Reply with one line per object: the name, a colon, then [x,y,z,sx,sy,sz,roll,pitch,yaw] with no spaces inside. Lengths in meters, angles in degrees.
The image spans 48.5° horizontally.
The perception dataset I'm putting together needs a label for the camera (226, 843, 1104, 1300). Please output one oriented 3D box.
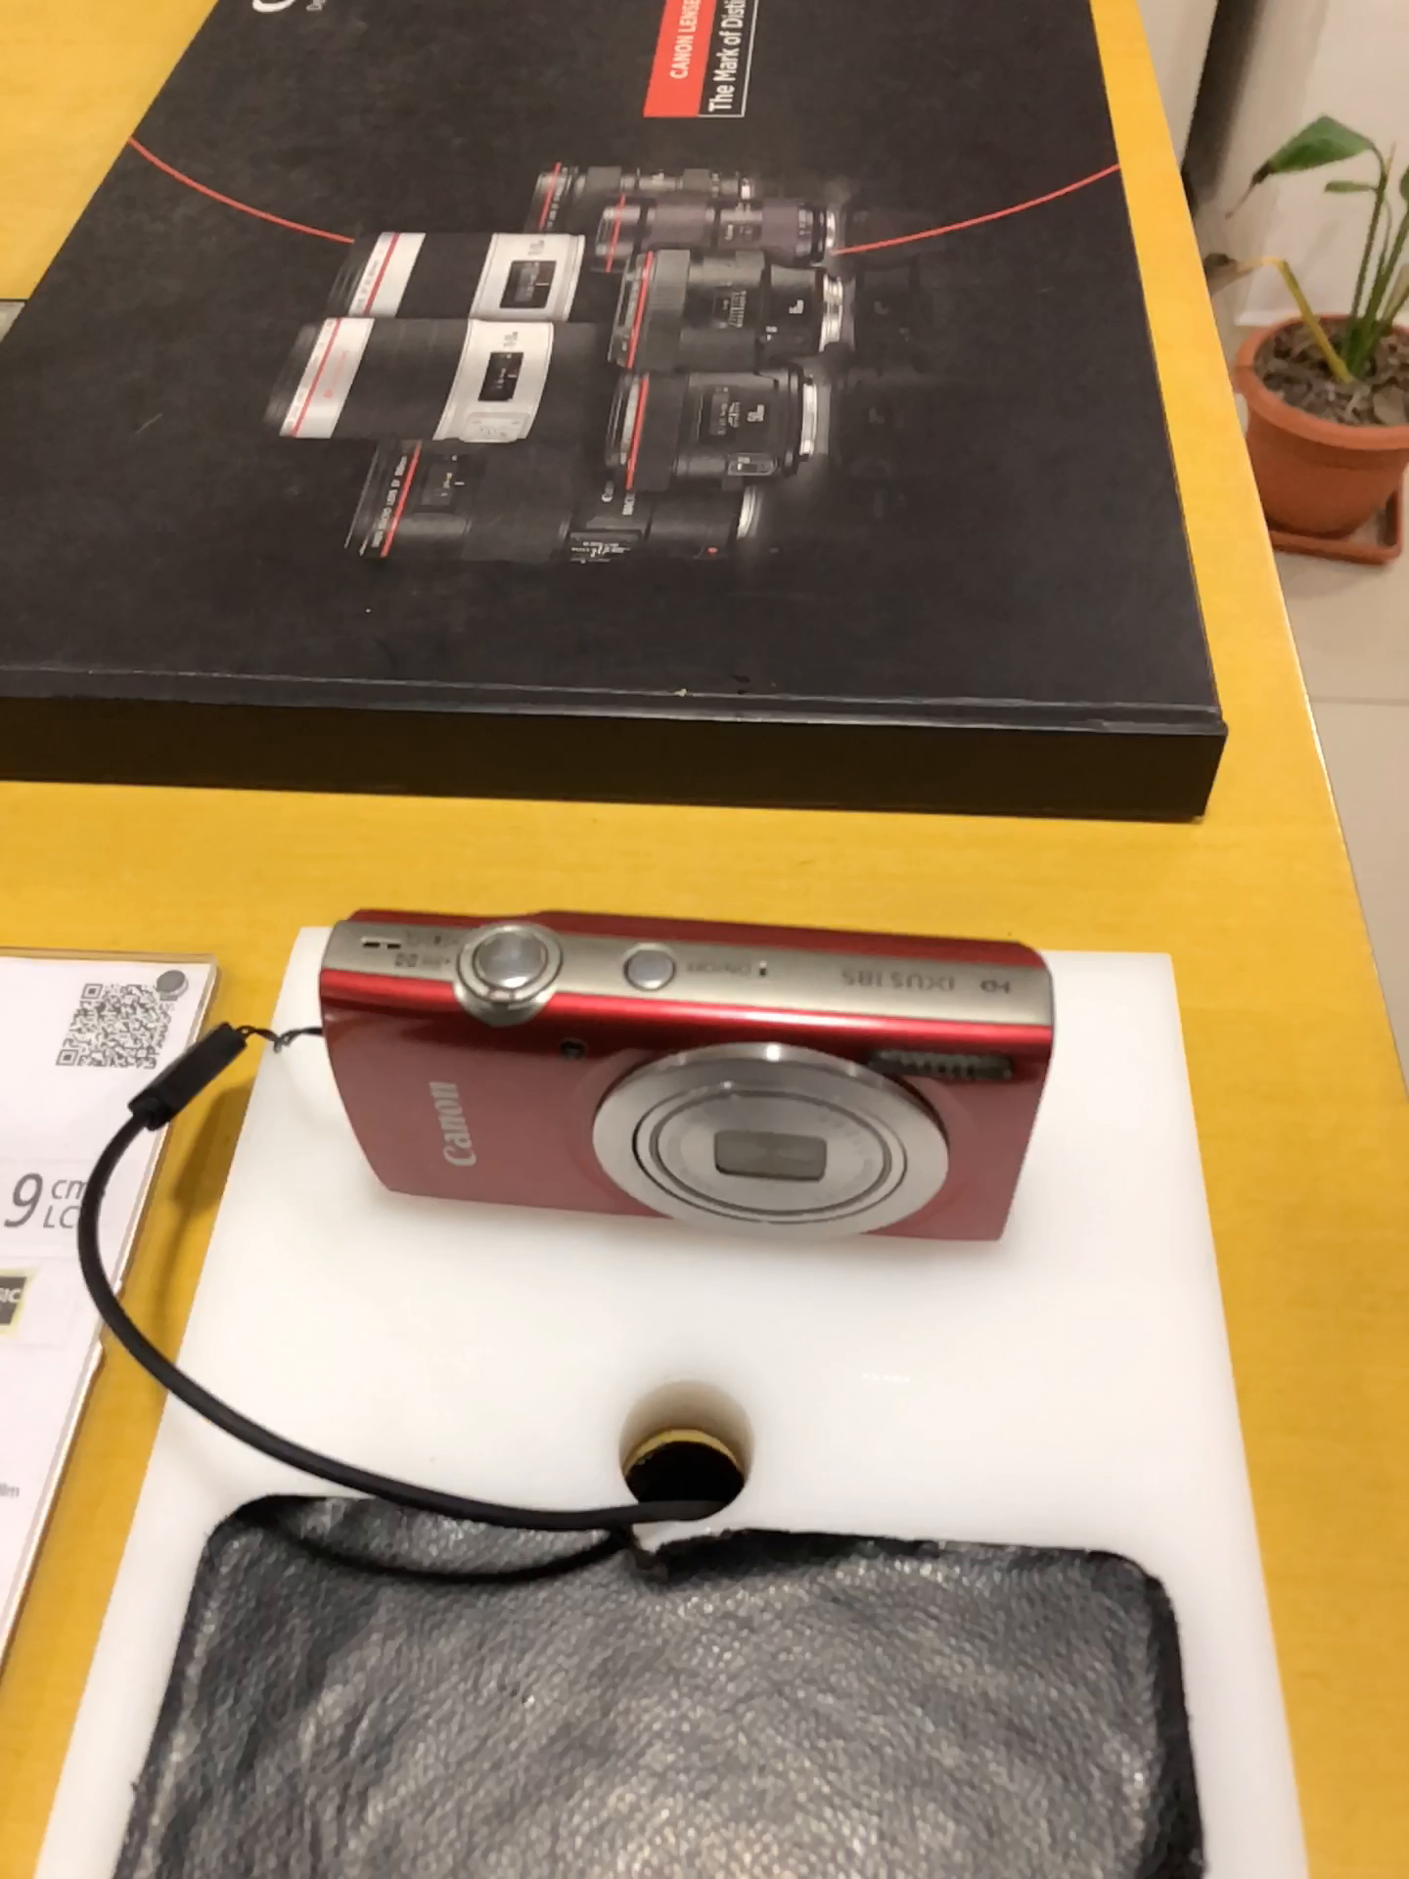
camera: [-0.004,0.018,0.206,0.100,0.050,0.030,4,52,4]
